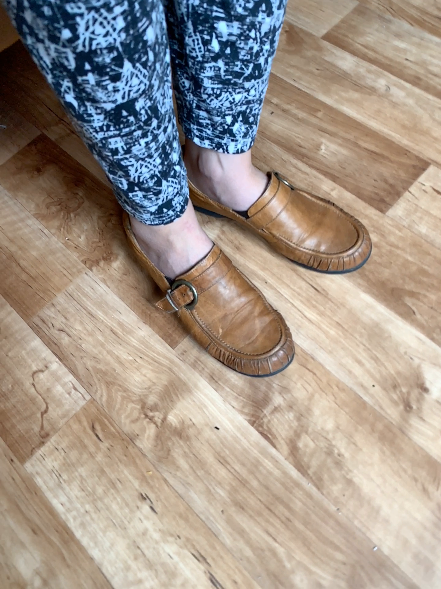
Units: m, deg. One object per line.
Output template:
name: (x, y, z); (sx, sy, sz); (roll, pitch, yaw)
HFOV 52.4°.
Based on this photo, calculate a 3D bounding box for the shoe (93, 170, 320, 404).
shoe: (-0.014, -0.010, 0.392); (0.080, 0.070, 0.190); (-40, 67, -12)

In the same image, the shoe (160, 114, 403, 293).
shoe: (0.052, -0.086, 0.416); (0.190, 0.070, 0.080); (24, 70, 17)
